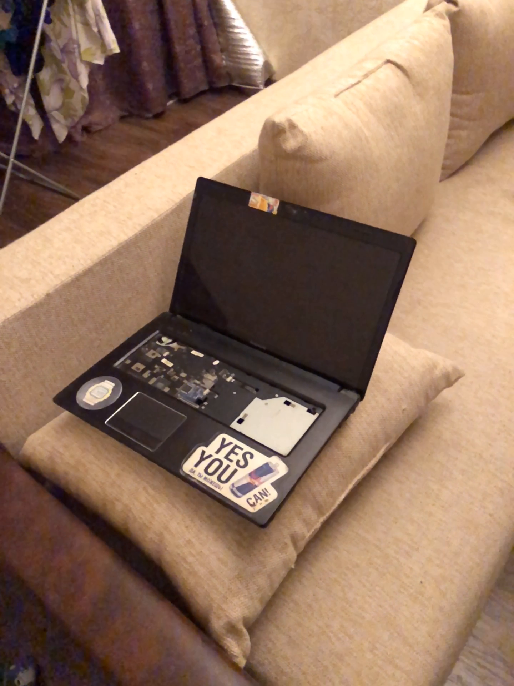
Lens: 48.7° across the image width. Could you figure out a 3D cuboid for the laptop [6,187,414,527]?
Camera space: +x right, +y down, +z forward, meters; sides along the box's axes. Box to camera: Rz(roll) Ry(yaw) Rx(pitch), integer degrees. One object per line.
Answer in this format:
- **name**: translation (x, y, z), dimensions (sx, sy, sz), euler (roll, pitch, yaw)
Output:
- **laptop**: translation (-0.051, -0.021, 0.877), dimensions (0.413, 0.198, 0.409), euler (24, 50, 27)
